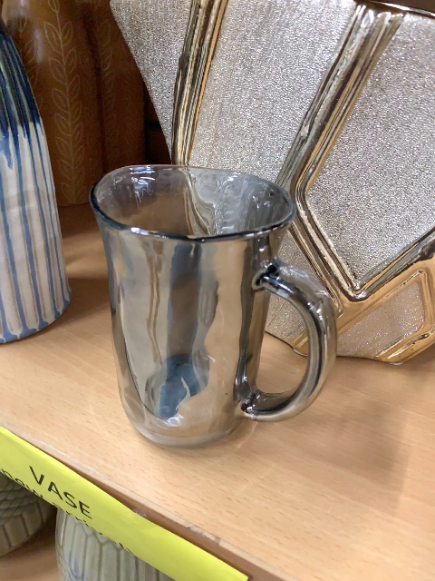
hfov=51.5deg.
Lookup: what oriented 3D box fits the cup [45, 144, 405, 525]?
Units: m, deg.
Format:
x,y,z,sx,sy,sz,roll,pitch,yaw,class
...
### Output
x,y,z,sx,sy,sz,roll,pitch,yaw,class
0.001,0.010,0.192,0.110,0.110,0.070,20,35,24,cup
